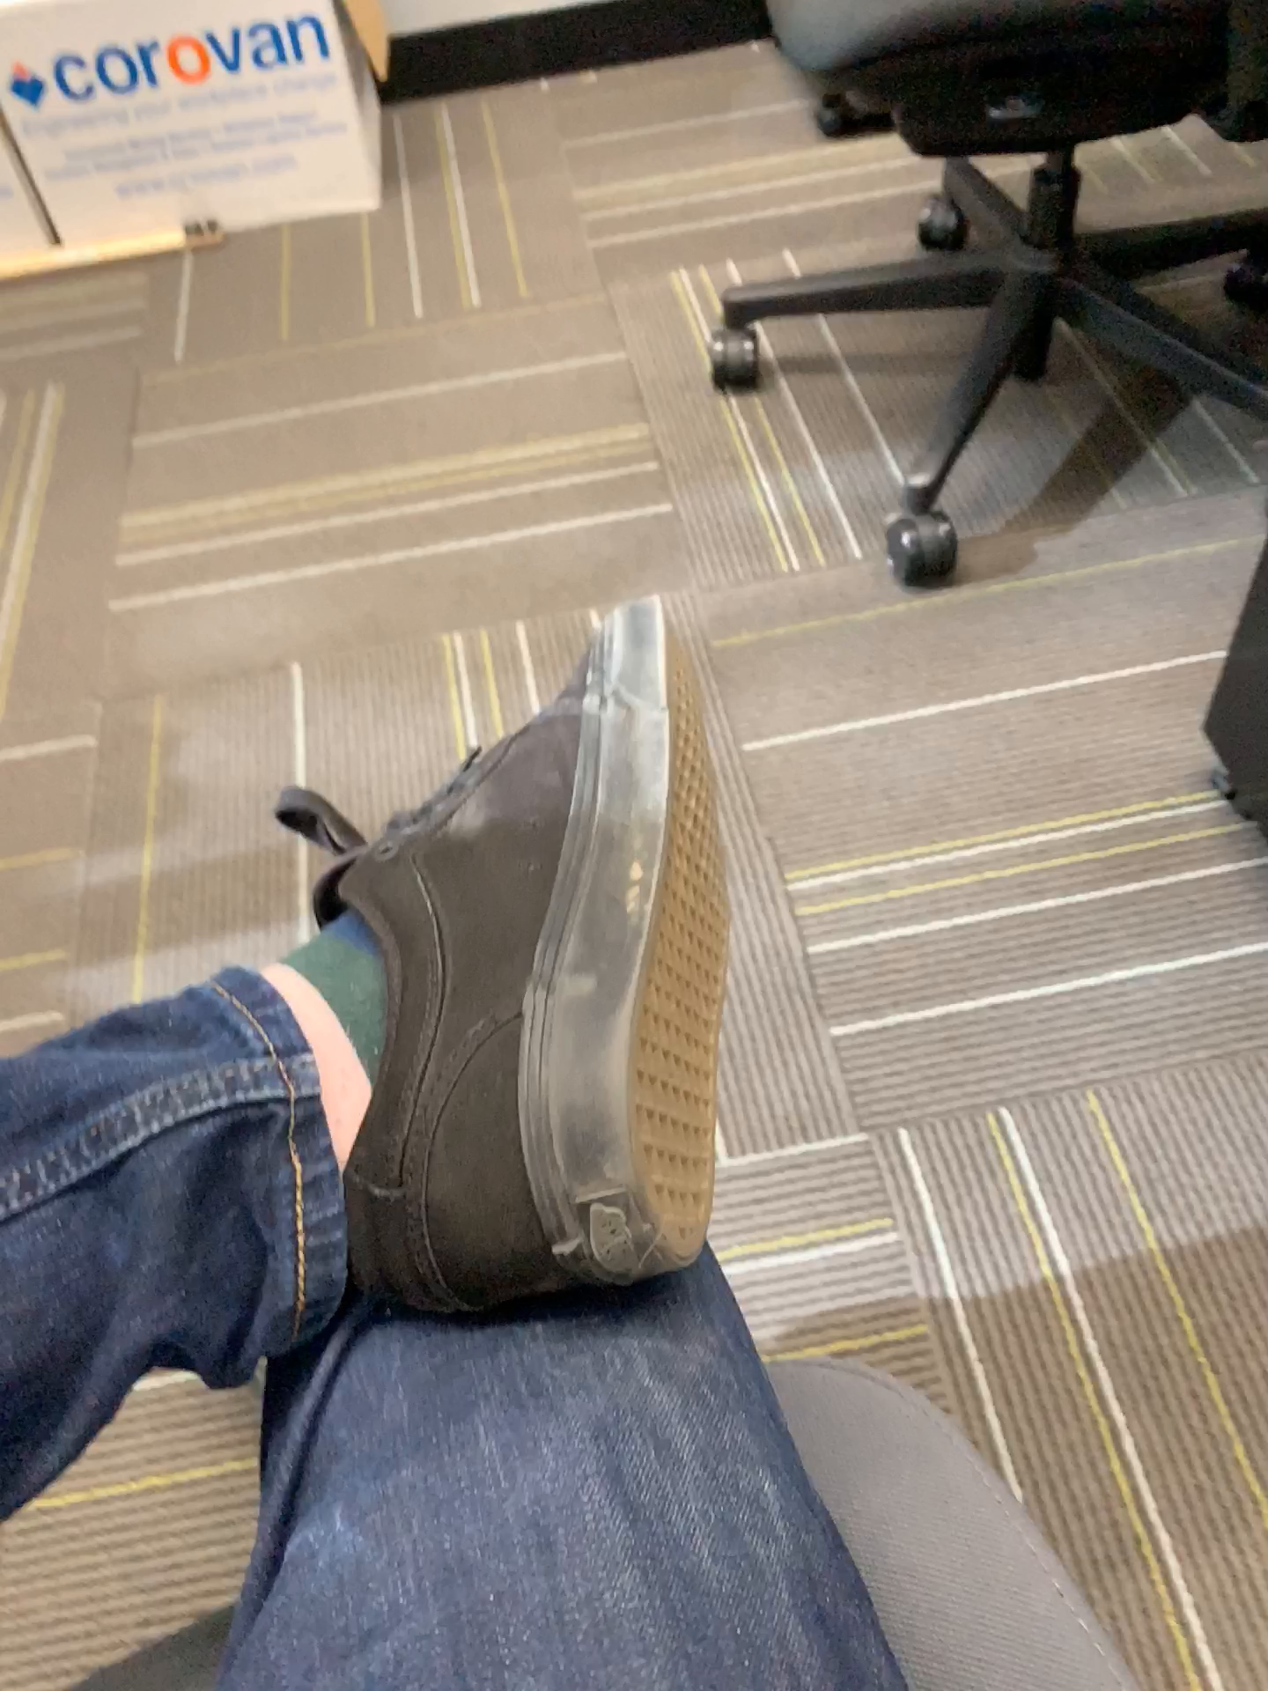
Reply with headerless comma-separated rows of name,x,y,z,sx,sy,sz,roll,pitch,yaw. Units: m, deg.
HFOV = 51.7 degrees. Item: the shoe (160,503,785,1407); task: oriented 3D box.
shoe,-0.030,0.029,0.429,0.135,0.120,0.261,-7,51,12
